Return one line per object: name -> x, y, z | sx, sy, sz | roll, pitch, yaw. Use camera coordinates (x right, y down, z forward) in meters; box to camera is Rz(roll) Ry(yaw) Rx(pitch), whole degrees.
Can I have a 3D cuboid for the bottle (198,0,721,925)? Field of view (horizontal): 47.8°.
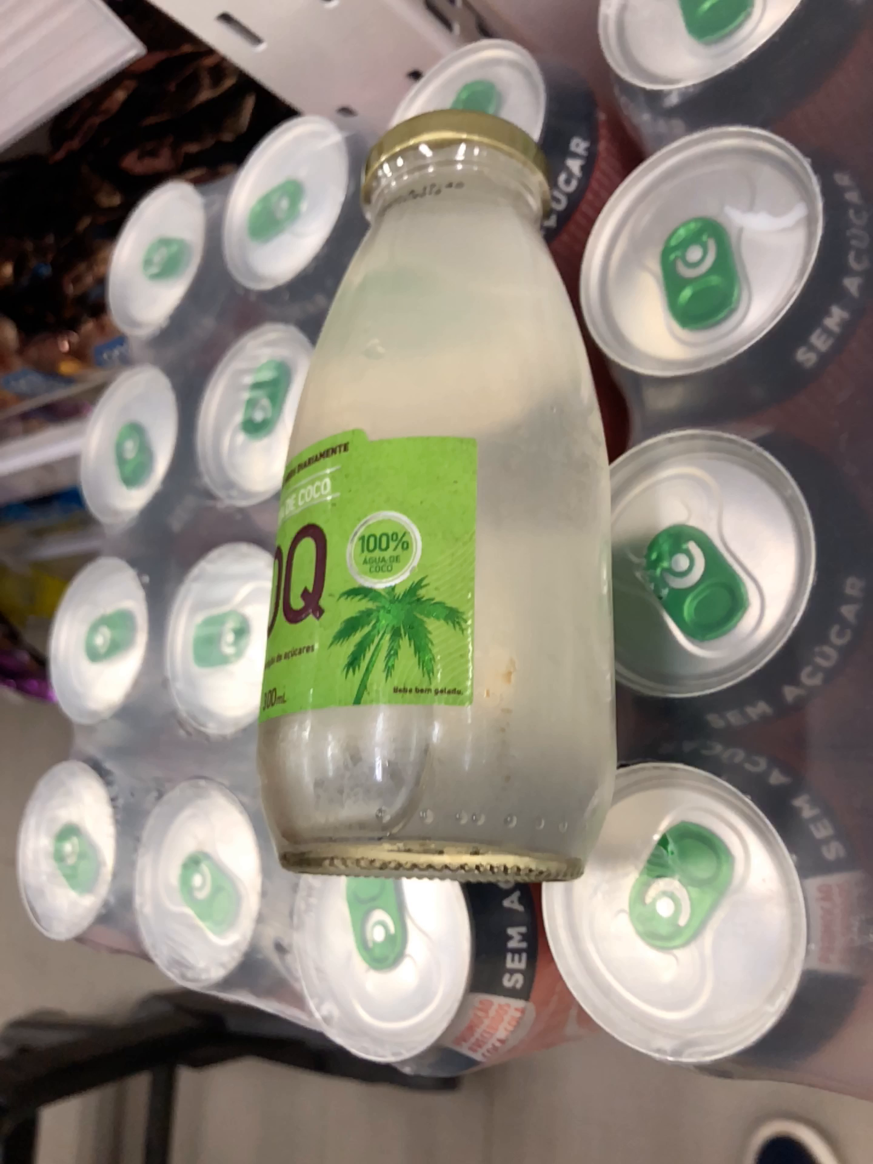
bottle -> 0.003, -0.016, 0.190 | 0.070, 0.060, 0.150 | -23, 60, 54
